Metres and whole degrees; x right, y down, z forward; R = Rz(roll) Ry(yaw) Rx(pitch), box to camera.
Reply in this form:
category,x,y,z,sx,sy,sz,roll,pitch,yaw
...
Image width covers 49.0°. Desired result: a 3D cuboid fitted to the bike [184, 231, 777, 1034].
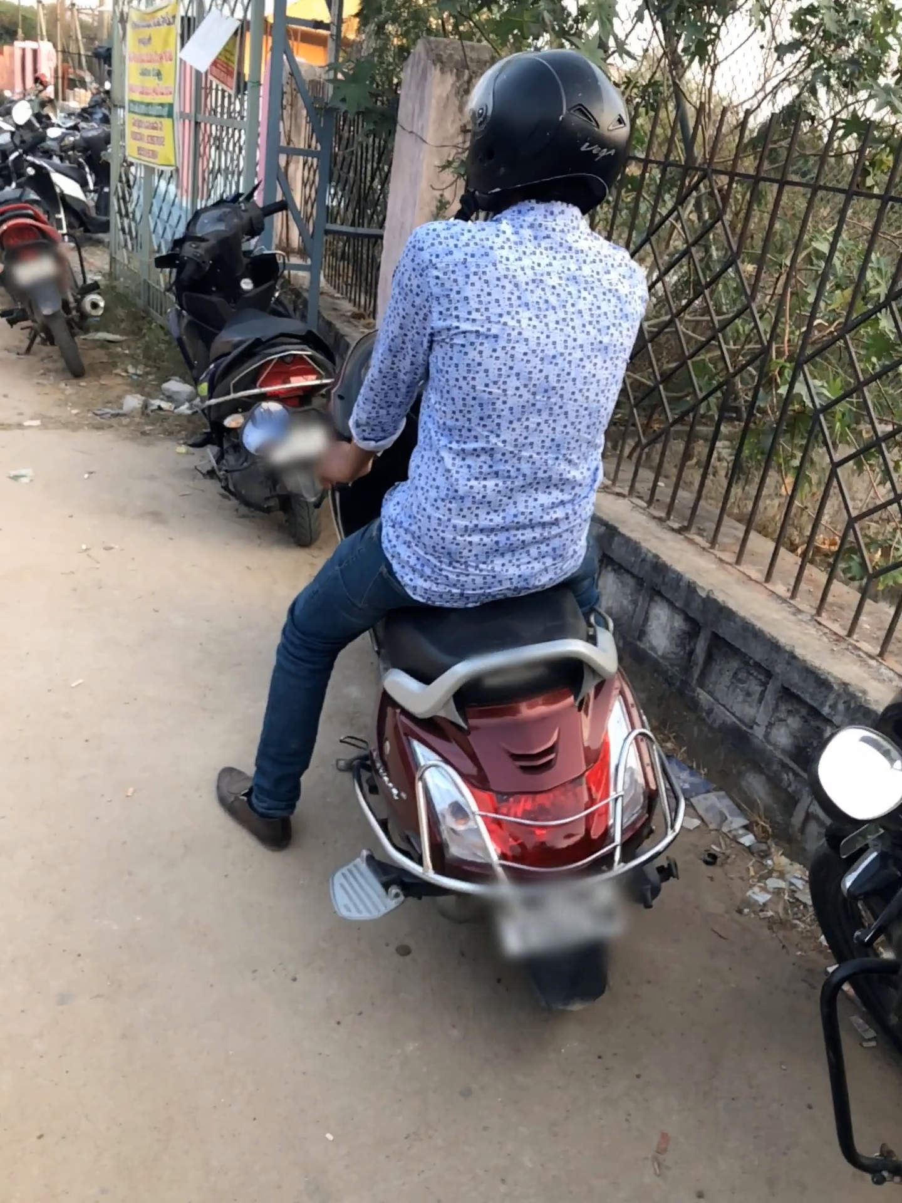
category,x,y,z,sx,sy,sz,roll,pitch,yaw
bike,-0.158,-0.093,2.059,0.577,0.963,1.495,-1,28,-20
